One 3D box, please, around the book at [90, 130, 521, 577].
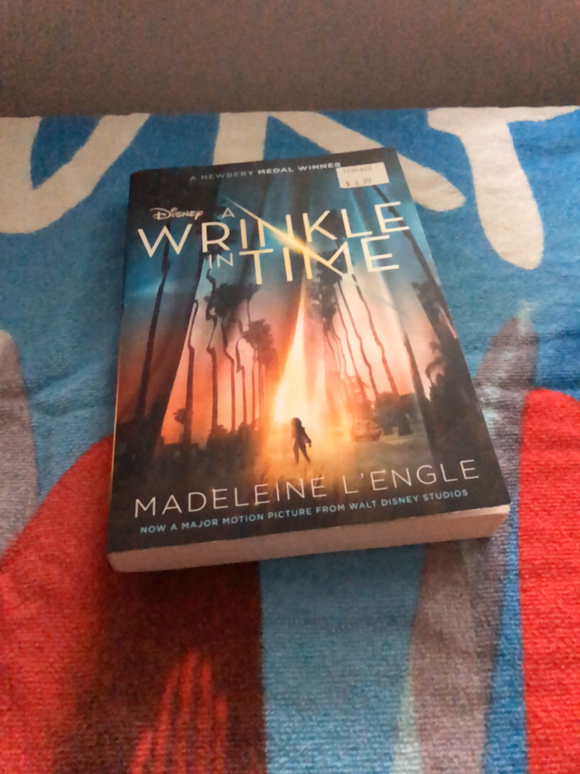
[{"bbox_3d":[-0.002,-0.028,0.271,0.138,0.031,0.196,-5,57,-1],"label":"book"}]
